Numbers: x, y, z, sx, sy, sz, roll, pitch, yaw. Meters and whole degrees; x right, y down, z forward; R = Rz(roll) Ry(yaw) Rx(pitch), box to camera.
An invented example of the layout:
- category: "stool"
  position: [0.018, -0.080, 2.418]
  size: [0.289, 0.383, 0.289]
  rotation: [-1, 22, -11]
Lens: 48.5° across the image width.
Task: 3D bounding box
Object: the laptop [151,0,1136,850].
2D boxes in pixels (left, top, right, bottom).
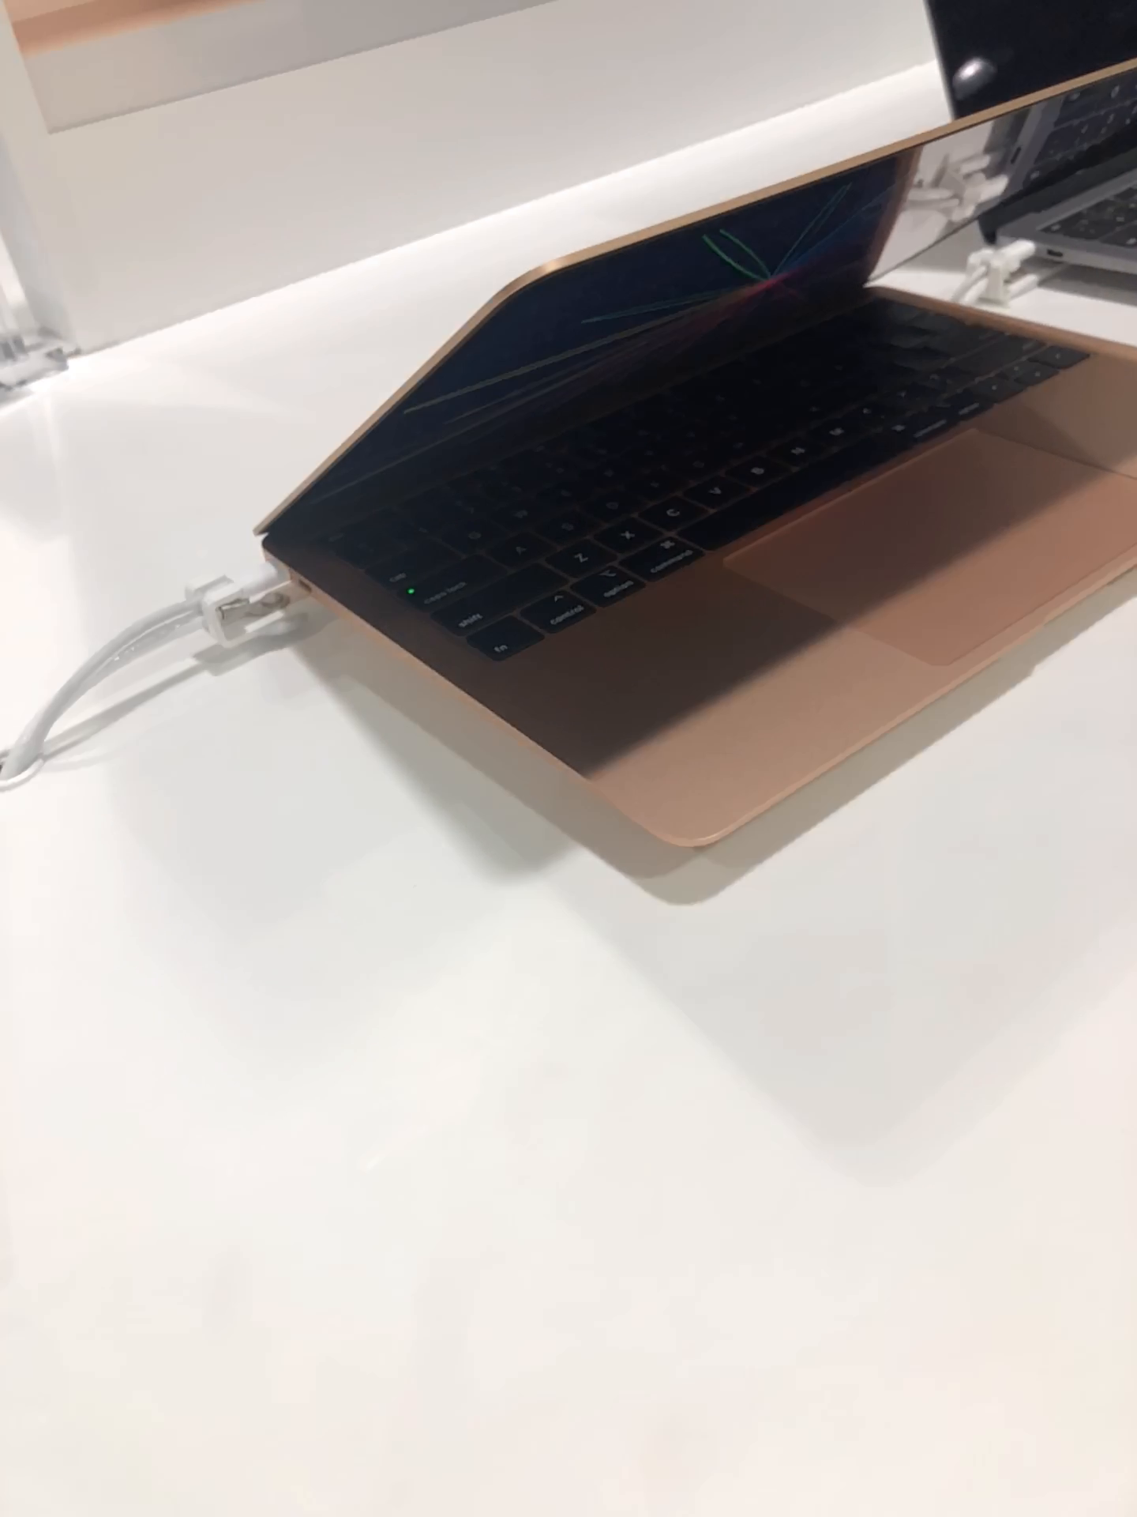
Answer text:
- category: "laptop"
  position: [0.070, -0.133, 0.375]
  size: [0.296, 0.106, 0.200]
  rotation: [-31, 43, -26]
